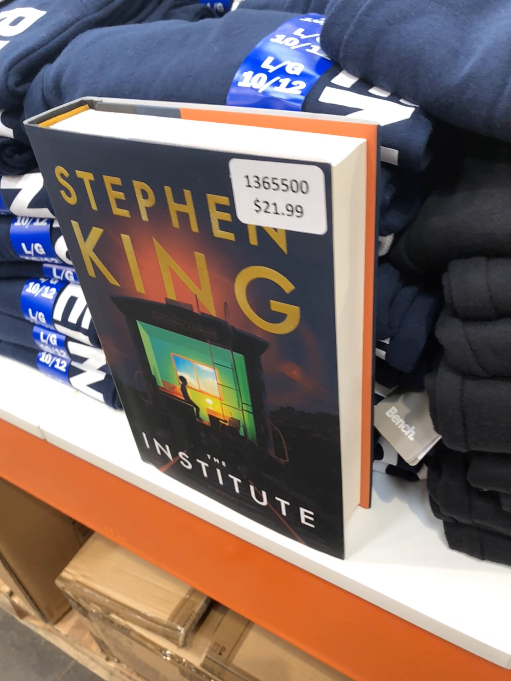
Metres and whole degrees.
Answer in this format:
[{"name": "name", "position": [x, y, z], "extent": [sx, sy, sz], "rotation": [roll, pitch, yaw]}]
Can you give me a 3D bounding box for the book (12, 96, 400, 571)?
[{"name": "book", "position": [-0.018, 0.000, 0.305], "extent": [0.167, 0.228, 0.050], "rotation": [18, 43, 30]}]
